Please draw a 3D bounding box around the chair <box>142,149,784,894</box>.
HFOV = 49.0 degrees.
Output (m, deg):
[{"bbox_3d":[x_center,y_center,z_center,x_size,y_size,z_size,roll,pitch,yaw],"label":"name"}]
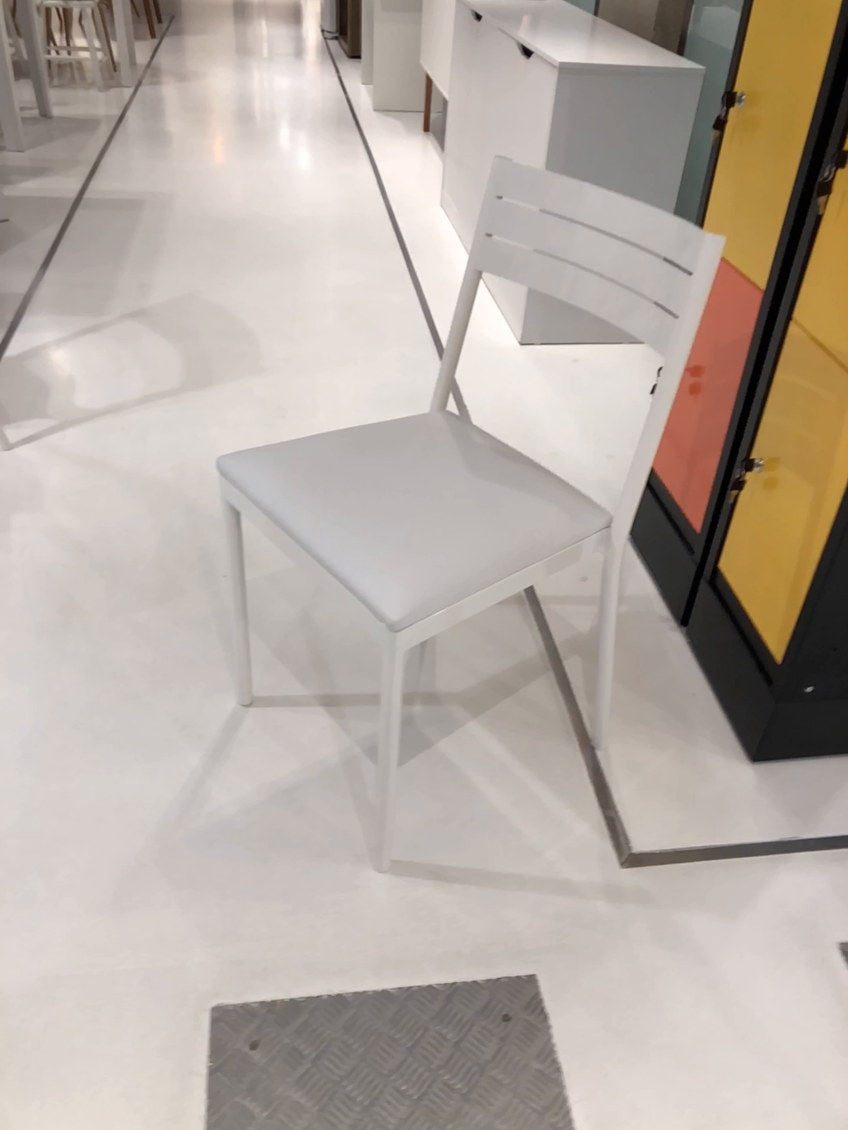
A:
[{"bbox_3d":[0.019,-0.086,1.251,0.532,0.734,0.482,-22,44,-31],"label":"chair"}]
